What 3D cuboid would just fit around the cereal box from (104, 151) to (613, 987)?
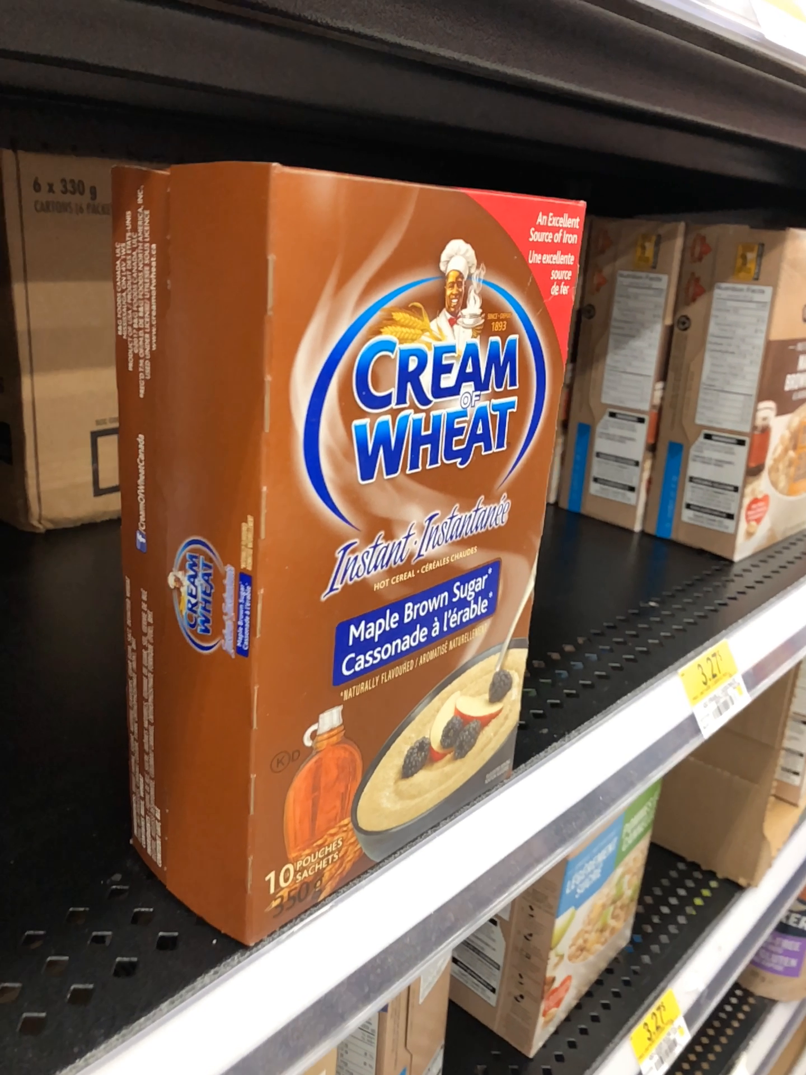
[{"bbox_3d":[-0.012,0.002,0.273,0.060,0.209,0.130,21,26,38],"label":"cereal box"}]
